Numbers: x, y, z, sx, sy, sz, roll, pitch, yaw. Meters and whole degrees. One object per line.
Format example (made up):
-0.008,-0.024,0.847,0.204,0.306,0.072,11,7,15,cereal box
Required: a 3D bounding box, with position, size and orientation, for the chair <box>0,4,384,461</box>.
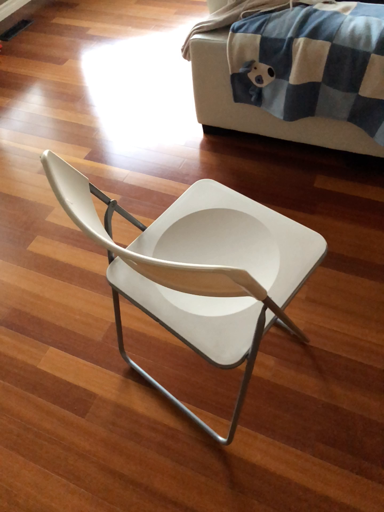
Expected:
0.069,-0.042,0.843,0.462,0.577,0.541,32,62,27,chair
